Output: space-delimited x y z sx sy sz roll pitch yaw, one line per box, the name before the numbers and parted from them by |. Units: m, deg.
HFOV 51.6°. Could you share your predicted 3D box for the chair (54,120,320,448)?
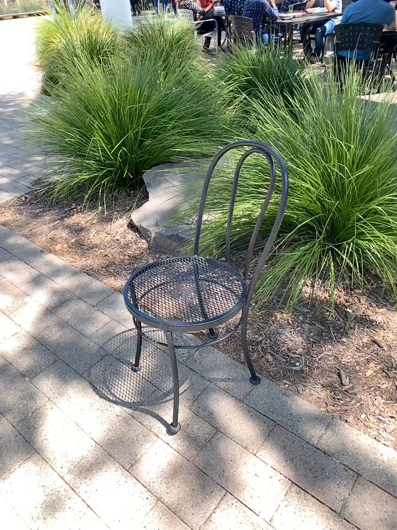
chair | -0.032 0.039 1.320 0.537 0.788 0.473 -23 40 -26
